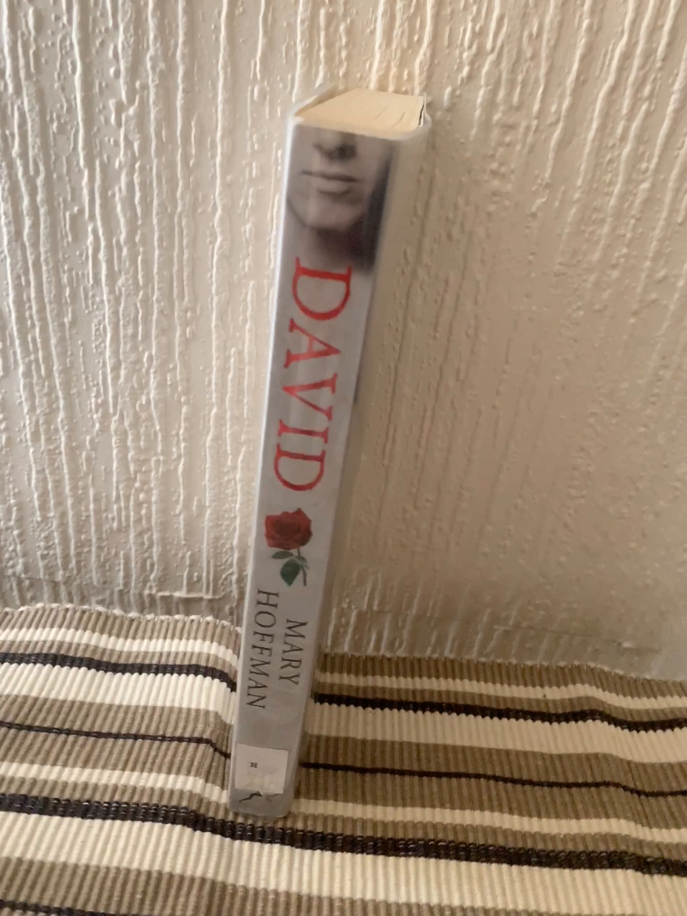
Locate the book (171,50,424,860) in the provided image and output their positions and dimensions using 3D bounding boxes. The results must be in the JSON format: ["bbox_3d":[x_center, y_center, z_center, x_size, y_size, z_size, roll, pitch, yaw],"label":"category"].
[{"bbox_3d":[-0.014,-0.012,0.245,0.040,0.218,0.172,9,31,0],"label":"book"}]
